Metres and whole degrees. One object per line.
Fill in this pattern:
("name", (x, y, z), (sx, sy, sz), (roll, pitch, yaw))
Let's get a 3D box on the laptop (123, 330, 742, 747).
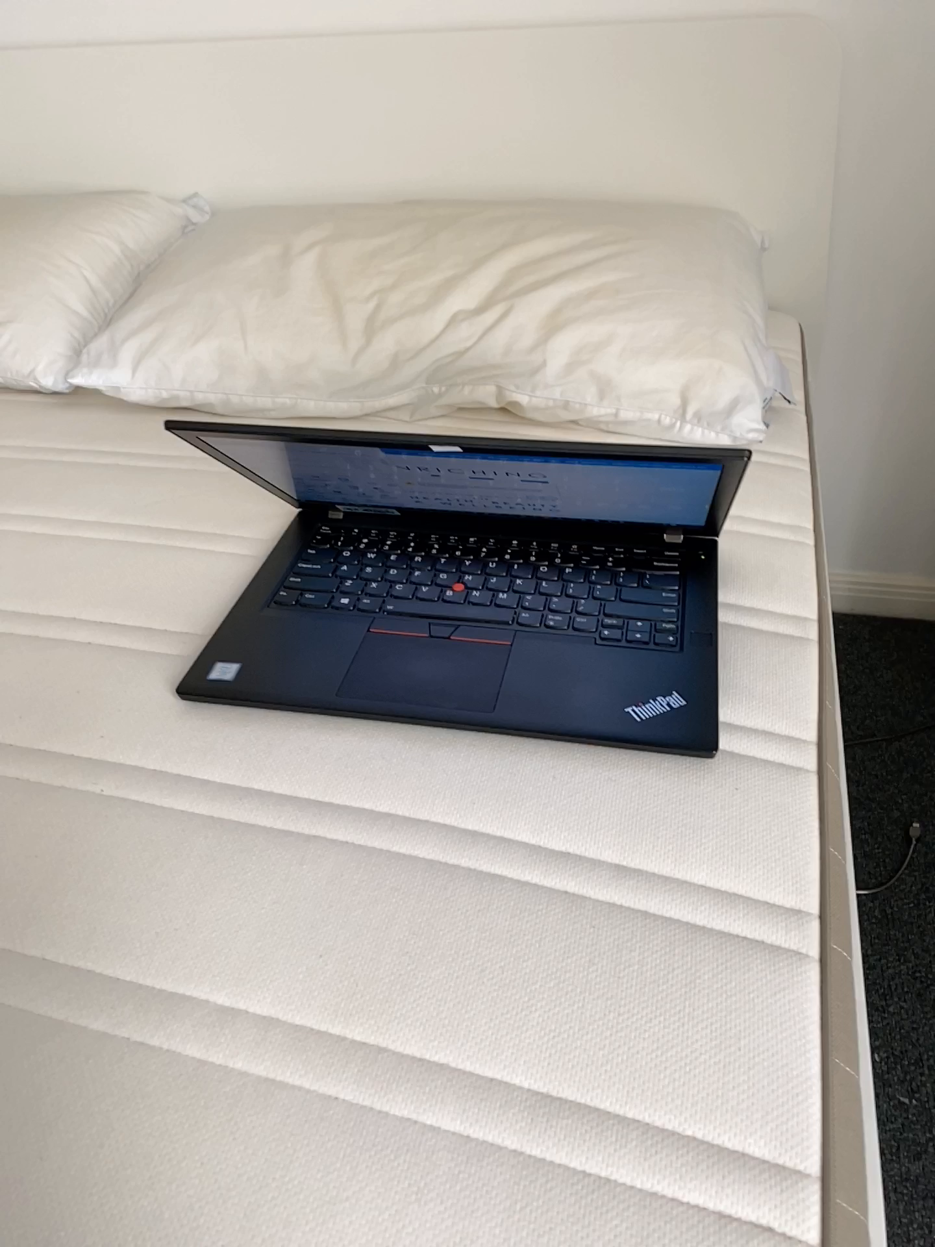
("laptop", (0.000, -0.070, 0.614), (0.324, 0.151, 0.221), (4, 38, 11))
